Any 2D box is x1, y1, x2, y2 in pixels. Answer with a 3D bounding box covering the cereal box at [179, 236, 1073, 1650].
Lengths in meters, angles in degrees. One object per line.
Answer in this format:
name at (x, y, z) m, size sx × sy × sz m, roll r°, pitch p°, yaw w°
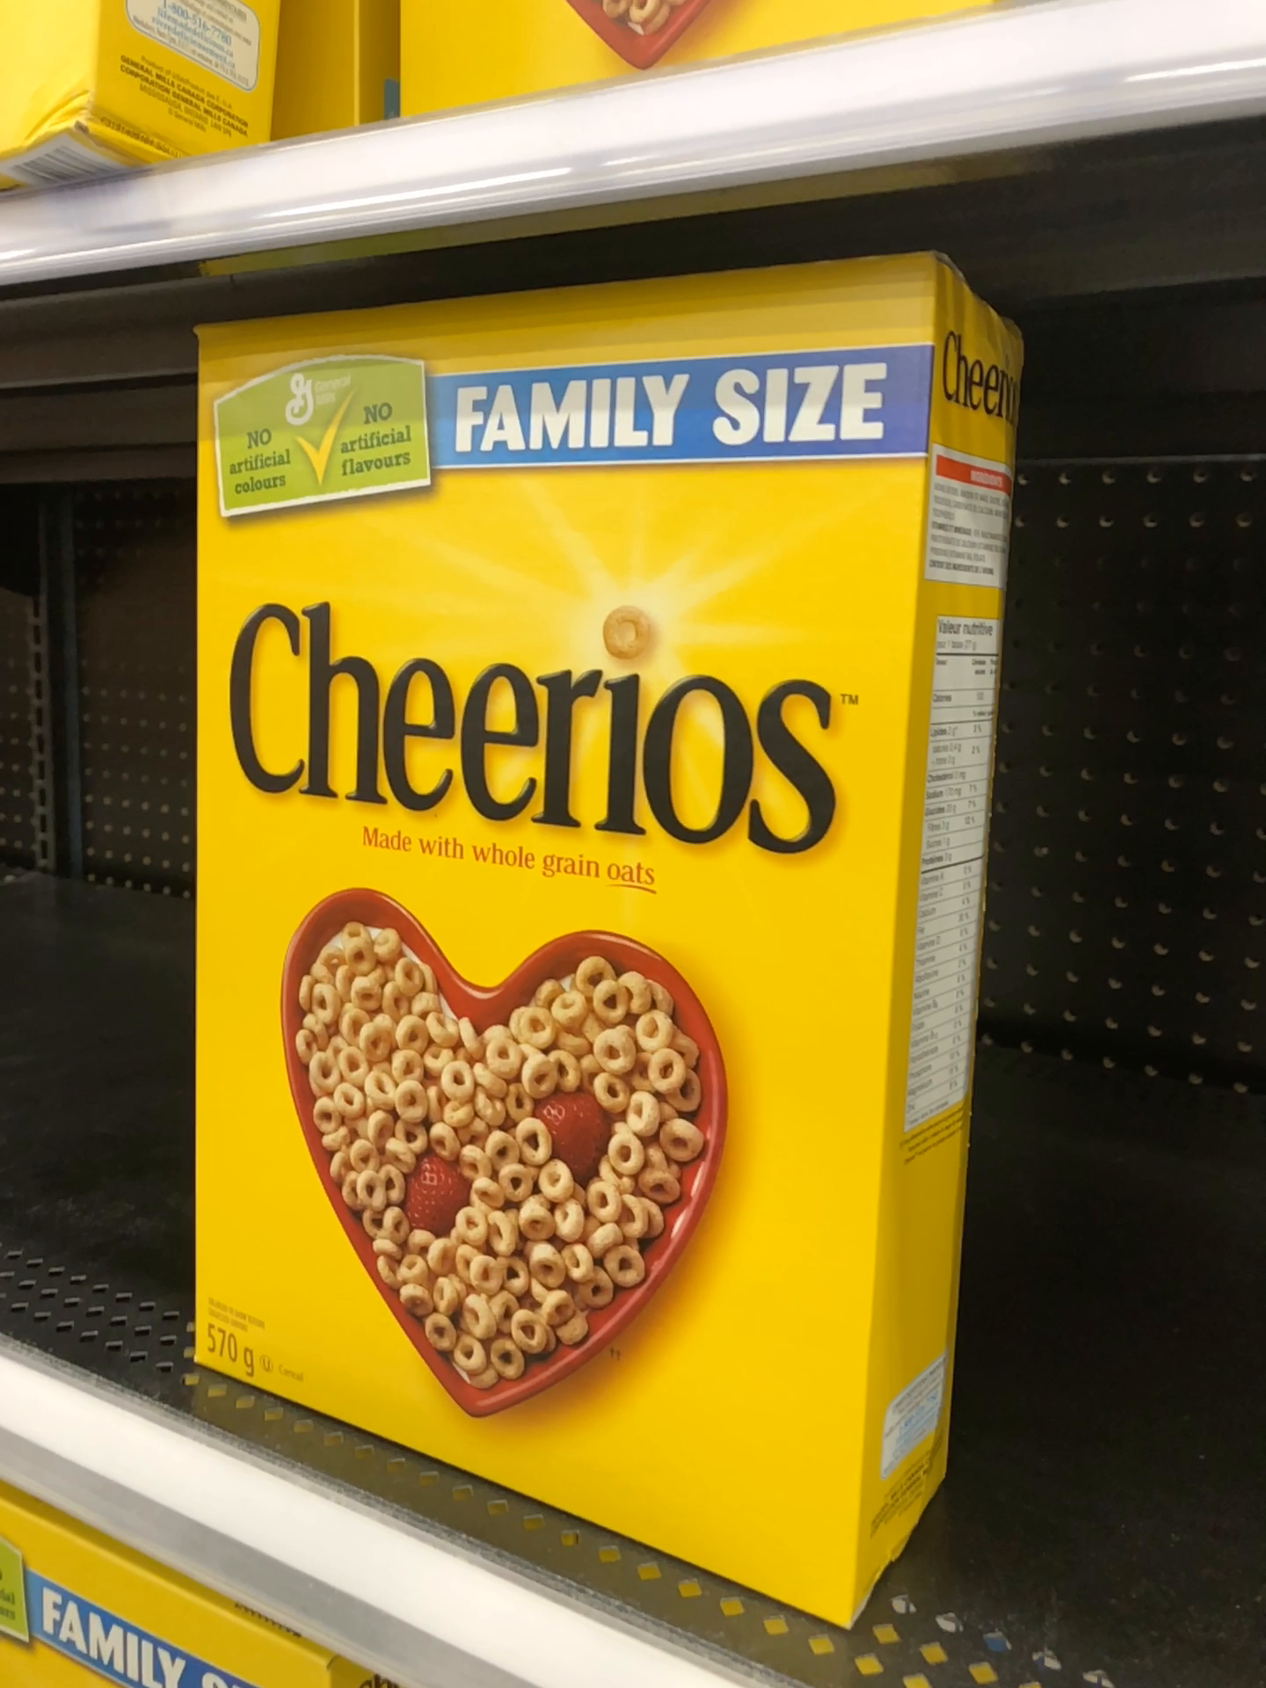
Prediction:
cereal box at (-0.015, 0.016, 0.422) m, size 0.240 × 0.339 × 0.090 m, roll 8°, pitch 10°, yaw 28°
